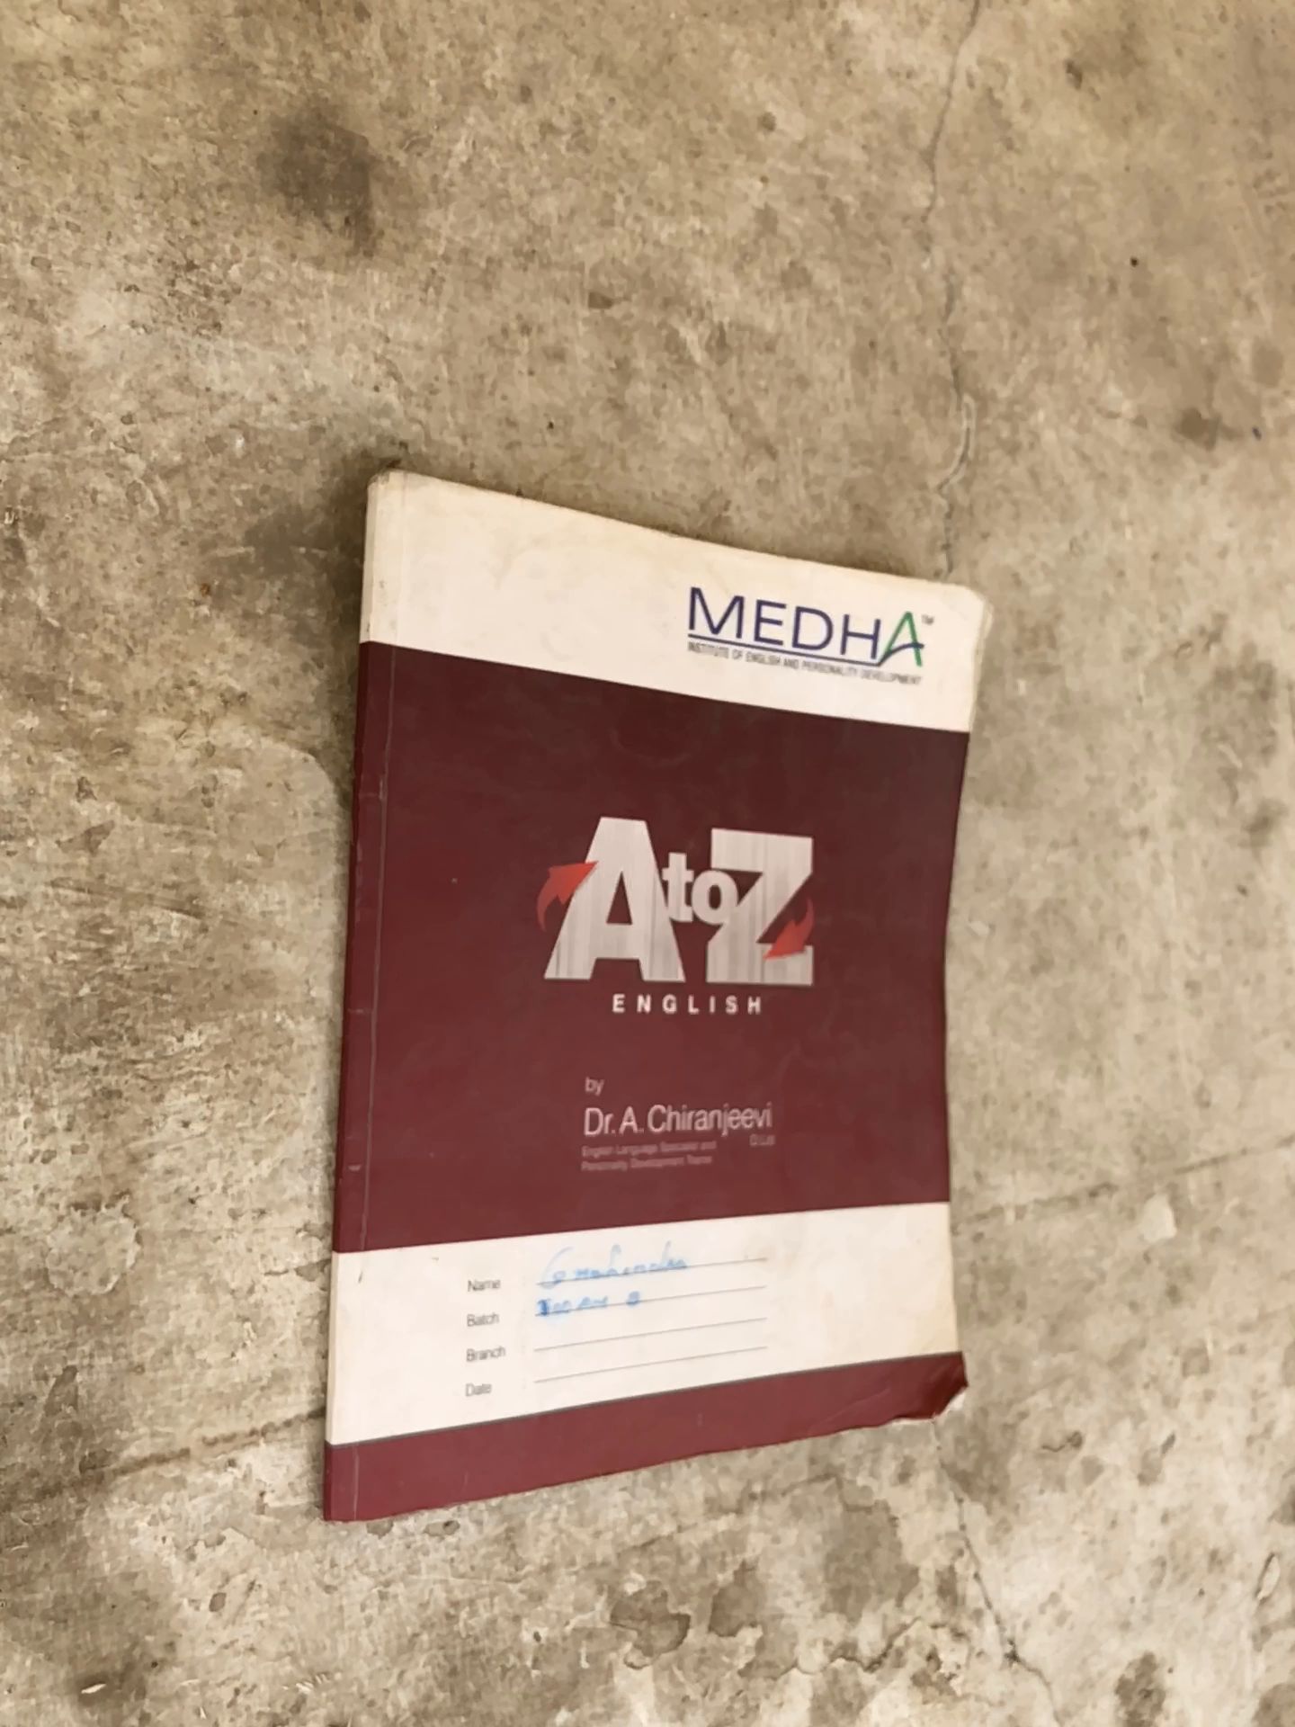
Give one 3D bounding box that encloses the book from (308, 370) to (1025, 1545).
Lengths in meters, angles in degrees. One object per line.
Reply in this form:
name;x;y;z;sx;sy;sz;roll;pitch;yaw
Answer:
book;0.018;0.025;0.418;0.221;0.030;0.280;4;83;-33
